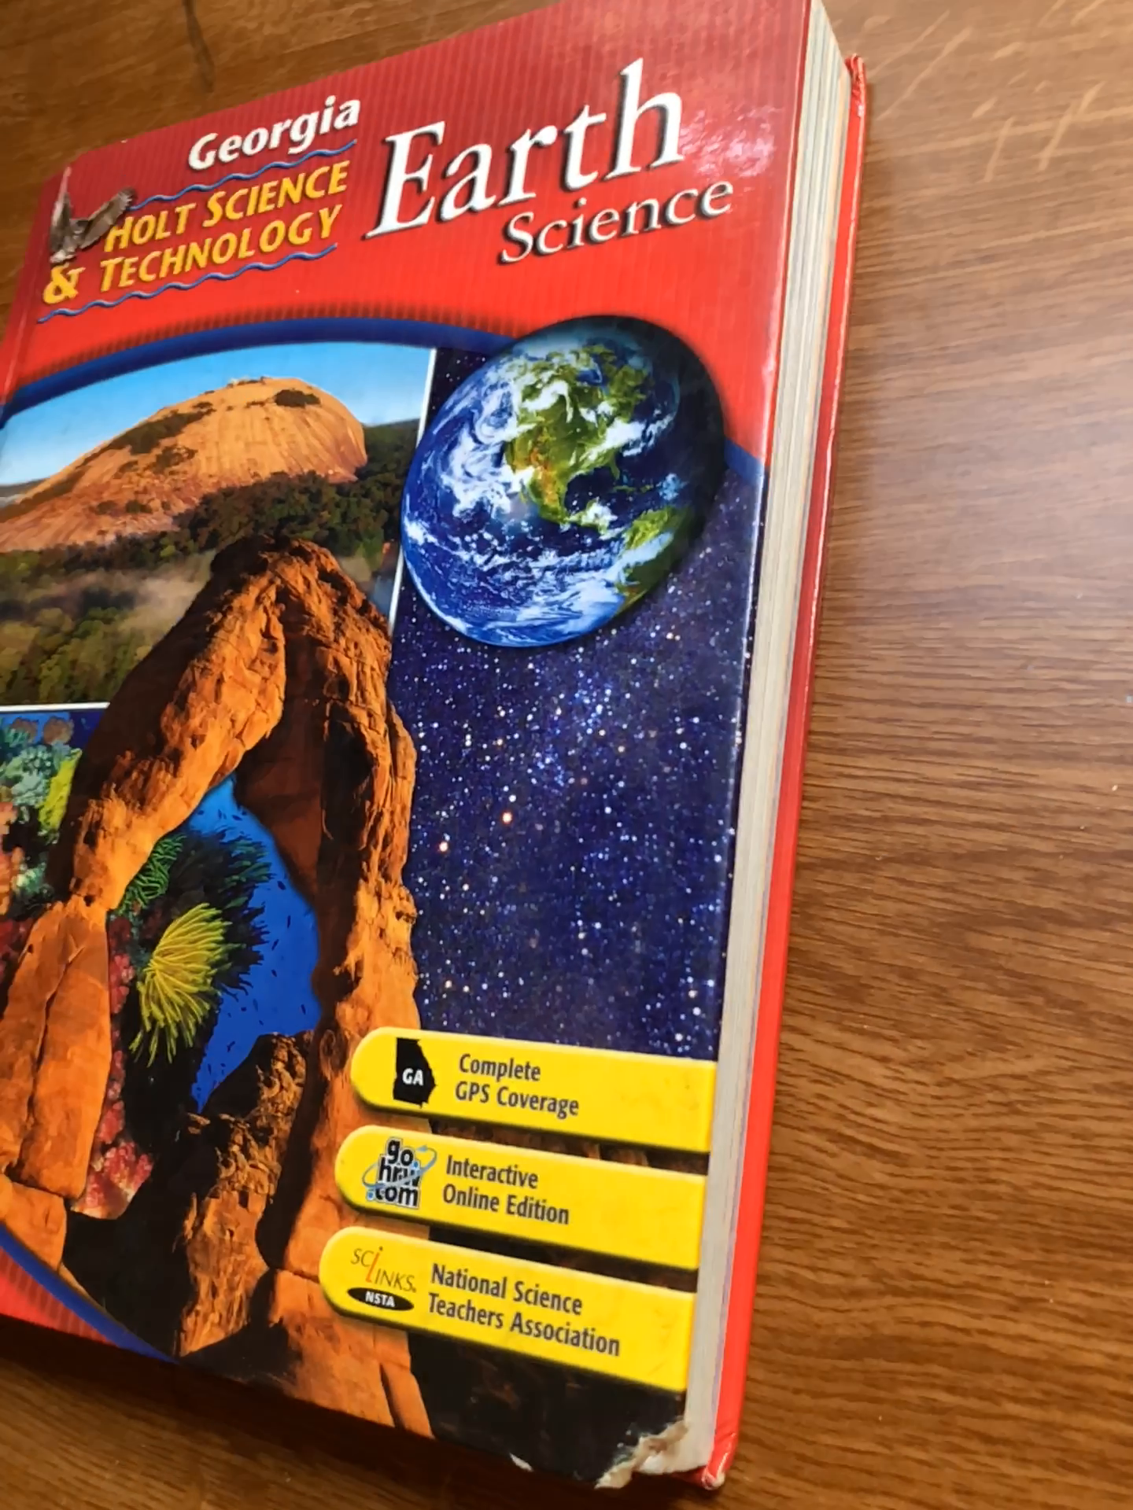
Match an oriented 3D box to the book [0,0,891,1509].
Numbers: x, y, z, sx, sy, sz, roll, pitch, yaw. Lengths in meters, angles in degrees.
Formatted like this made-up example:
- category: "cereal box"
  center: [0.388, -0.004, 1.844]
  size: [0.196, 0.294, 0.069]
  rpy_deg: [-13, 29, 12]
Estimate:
- category: "book"
  center: [-0.056, -0.016, 0.257]
  size: [0.215, 0.050, 0.266]
  rpy_deg: [0, 73, 27]
